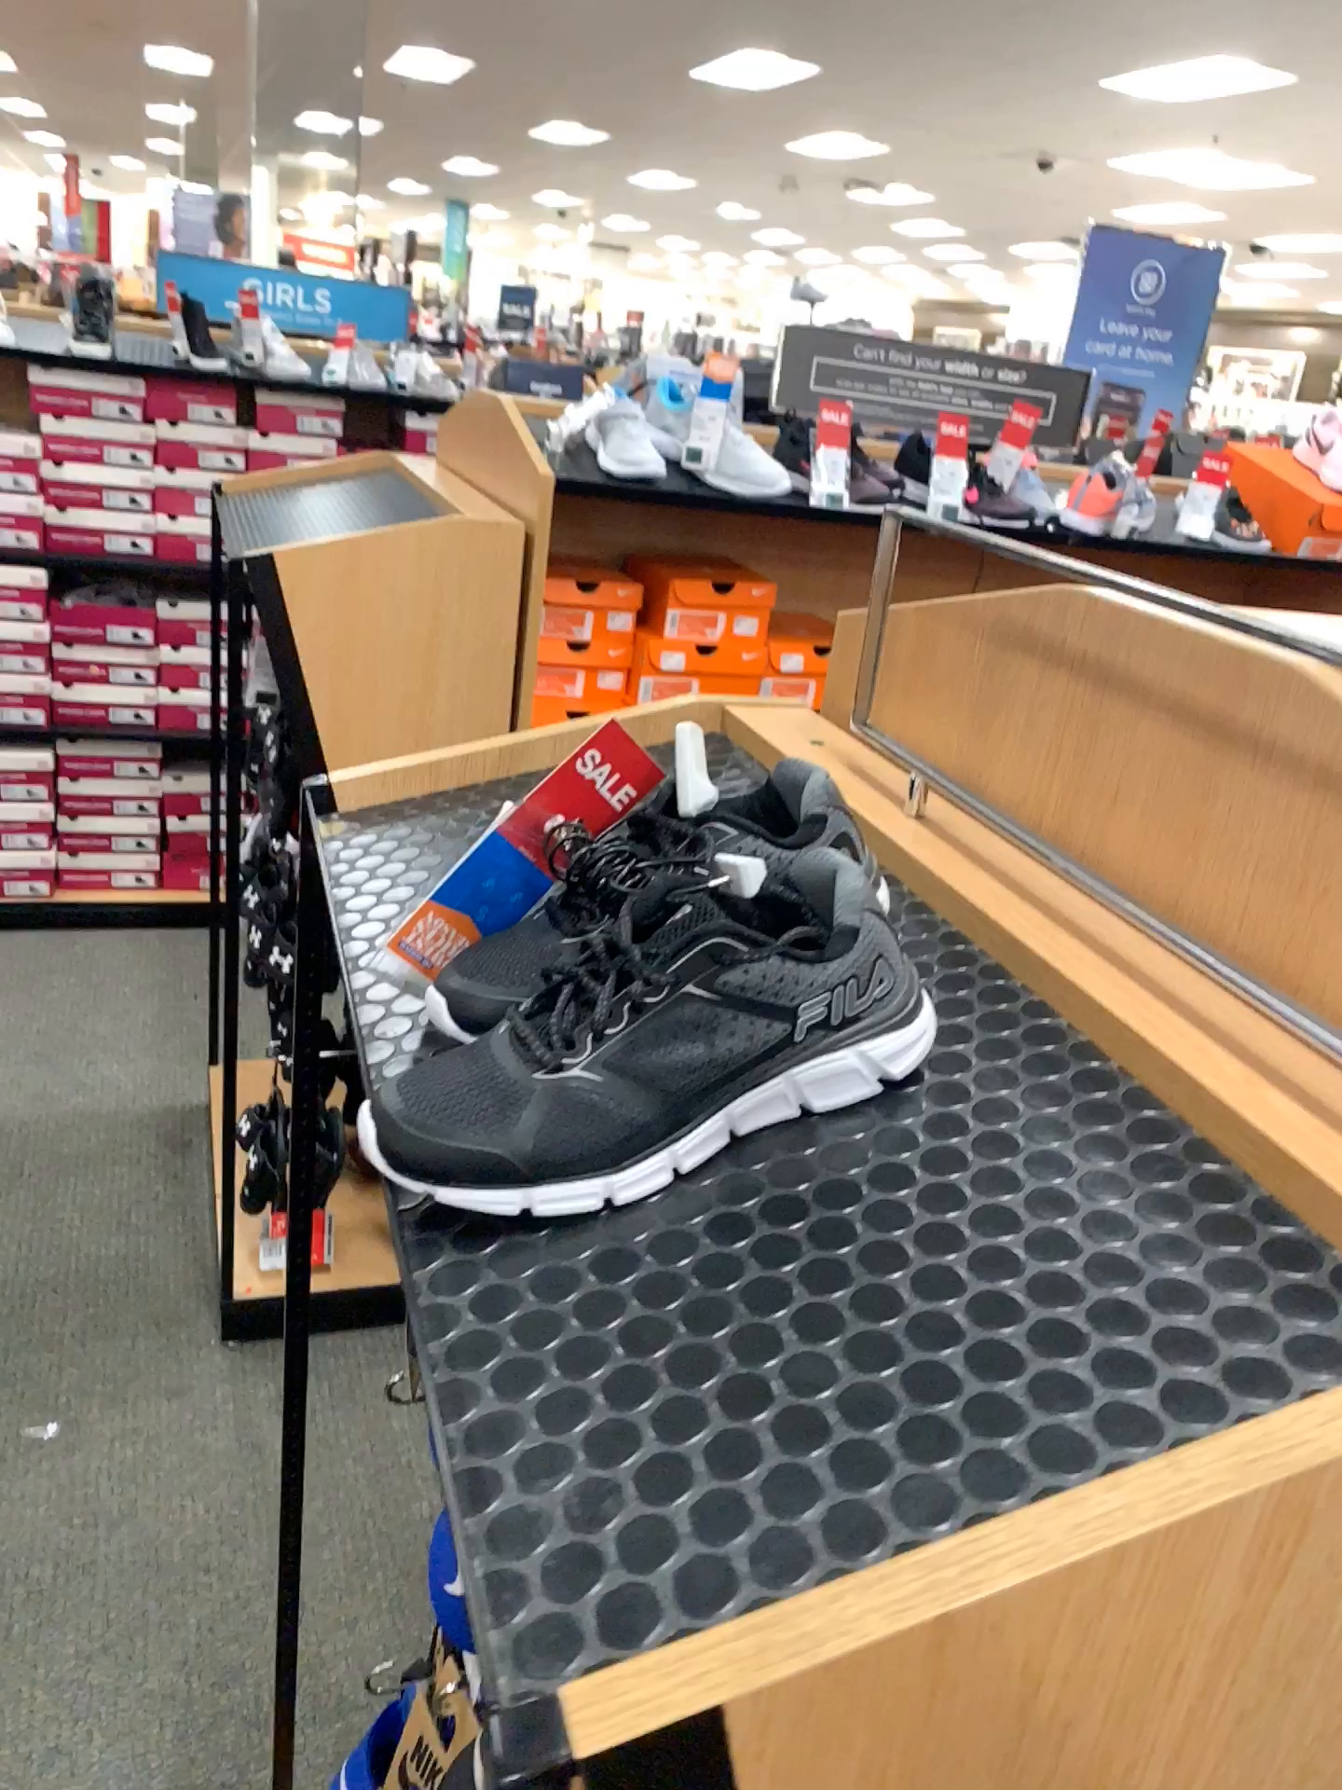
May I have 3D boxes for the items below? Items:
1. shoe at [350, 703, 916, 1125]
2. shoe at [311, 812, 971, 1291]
[{"bbox_3d":[-0.014,0.000,0.666,0.245,0.090,0.100,-23,32,-19],"label":"shoe"},{"bbox_3d":[-0.011,0.054,0.575,0.244,0.090,0.100,-20,20,-18],"label":"shoe"}]
